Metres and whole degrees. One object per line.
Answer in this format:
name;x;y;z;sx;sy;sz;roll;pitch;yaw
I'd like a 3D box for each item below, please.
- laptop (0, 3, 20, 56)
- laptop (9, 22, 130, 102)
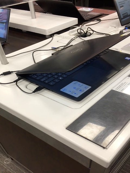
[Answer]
laptop;-0.510;-0.334;0.950;0.296;0.159;0.306;29;53;31
laptop;0.066;-0.125;0.663;0.277;0.106;0.386;30;51;31
